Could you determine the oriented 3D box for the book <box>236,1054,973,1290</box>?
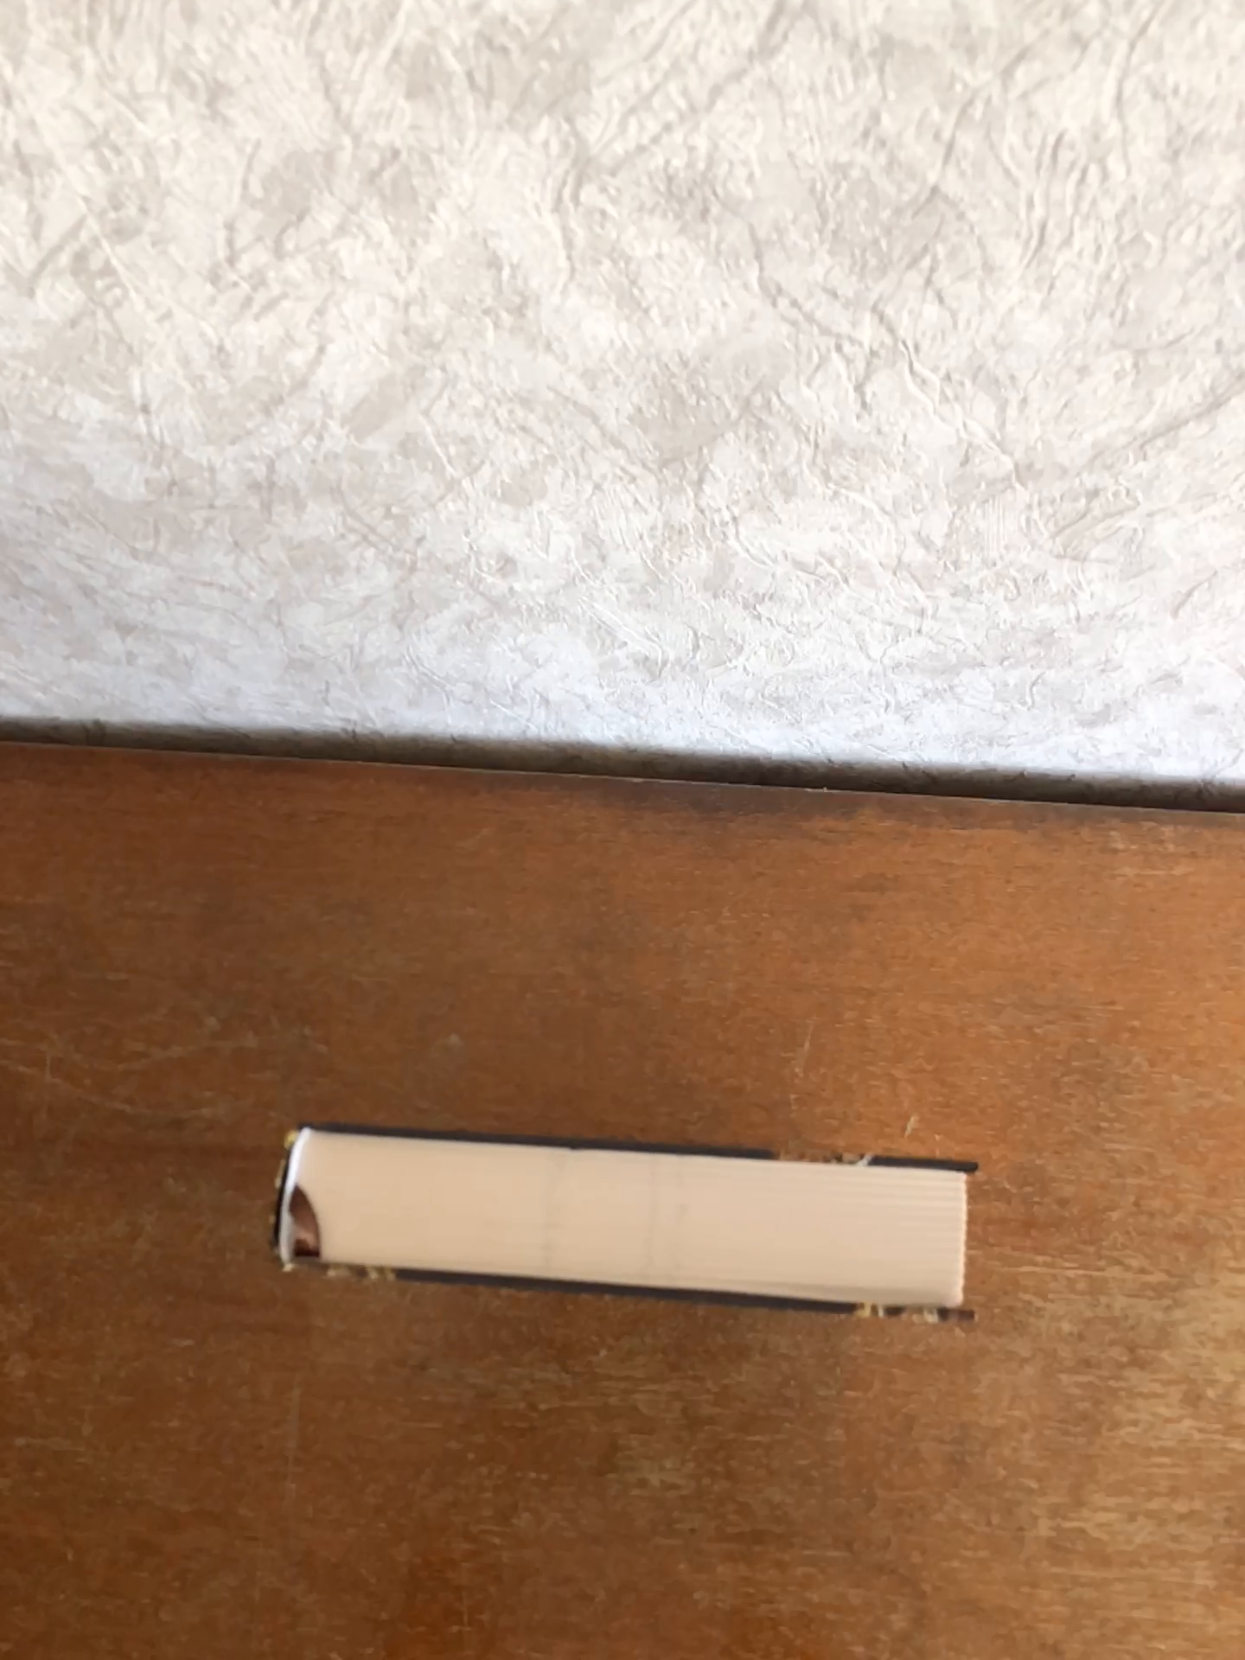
[{"bbox_3d":[-0.001,0.113,0.421,0.166,0.228,0.042,3,72,2],"label":"book"}]
